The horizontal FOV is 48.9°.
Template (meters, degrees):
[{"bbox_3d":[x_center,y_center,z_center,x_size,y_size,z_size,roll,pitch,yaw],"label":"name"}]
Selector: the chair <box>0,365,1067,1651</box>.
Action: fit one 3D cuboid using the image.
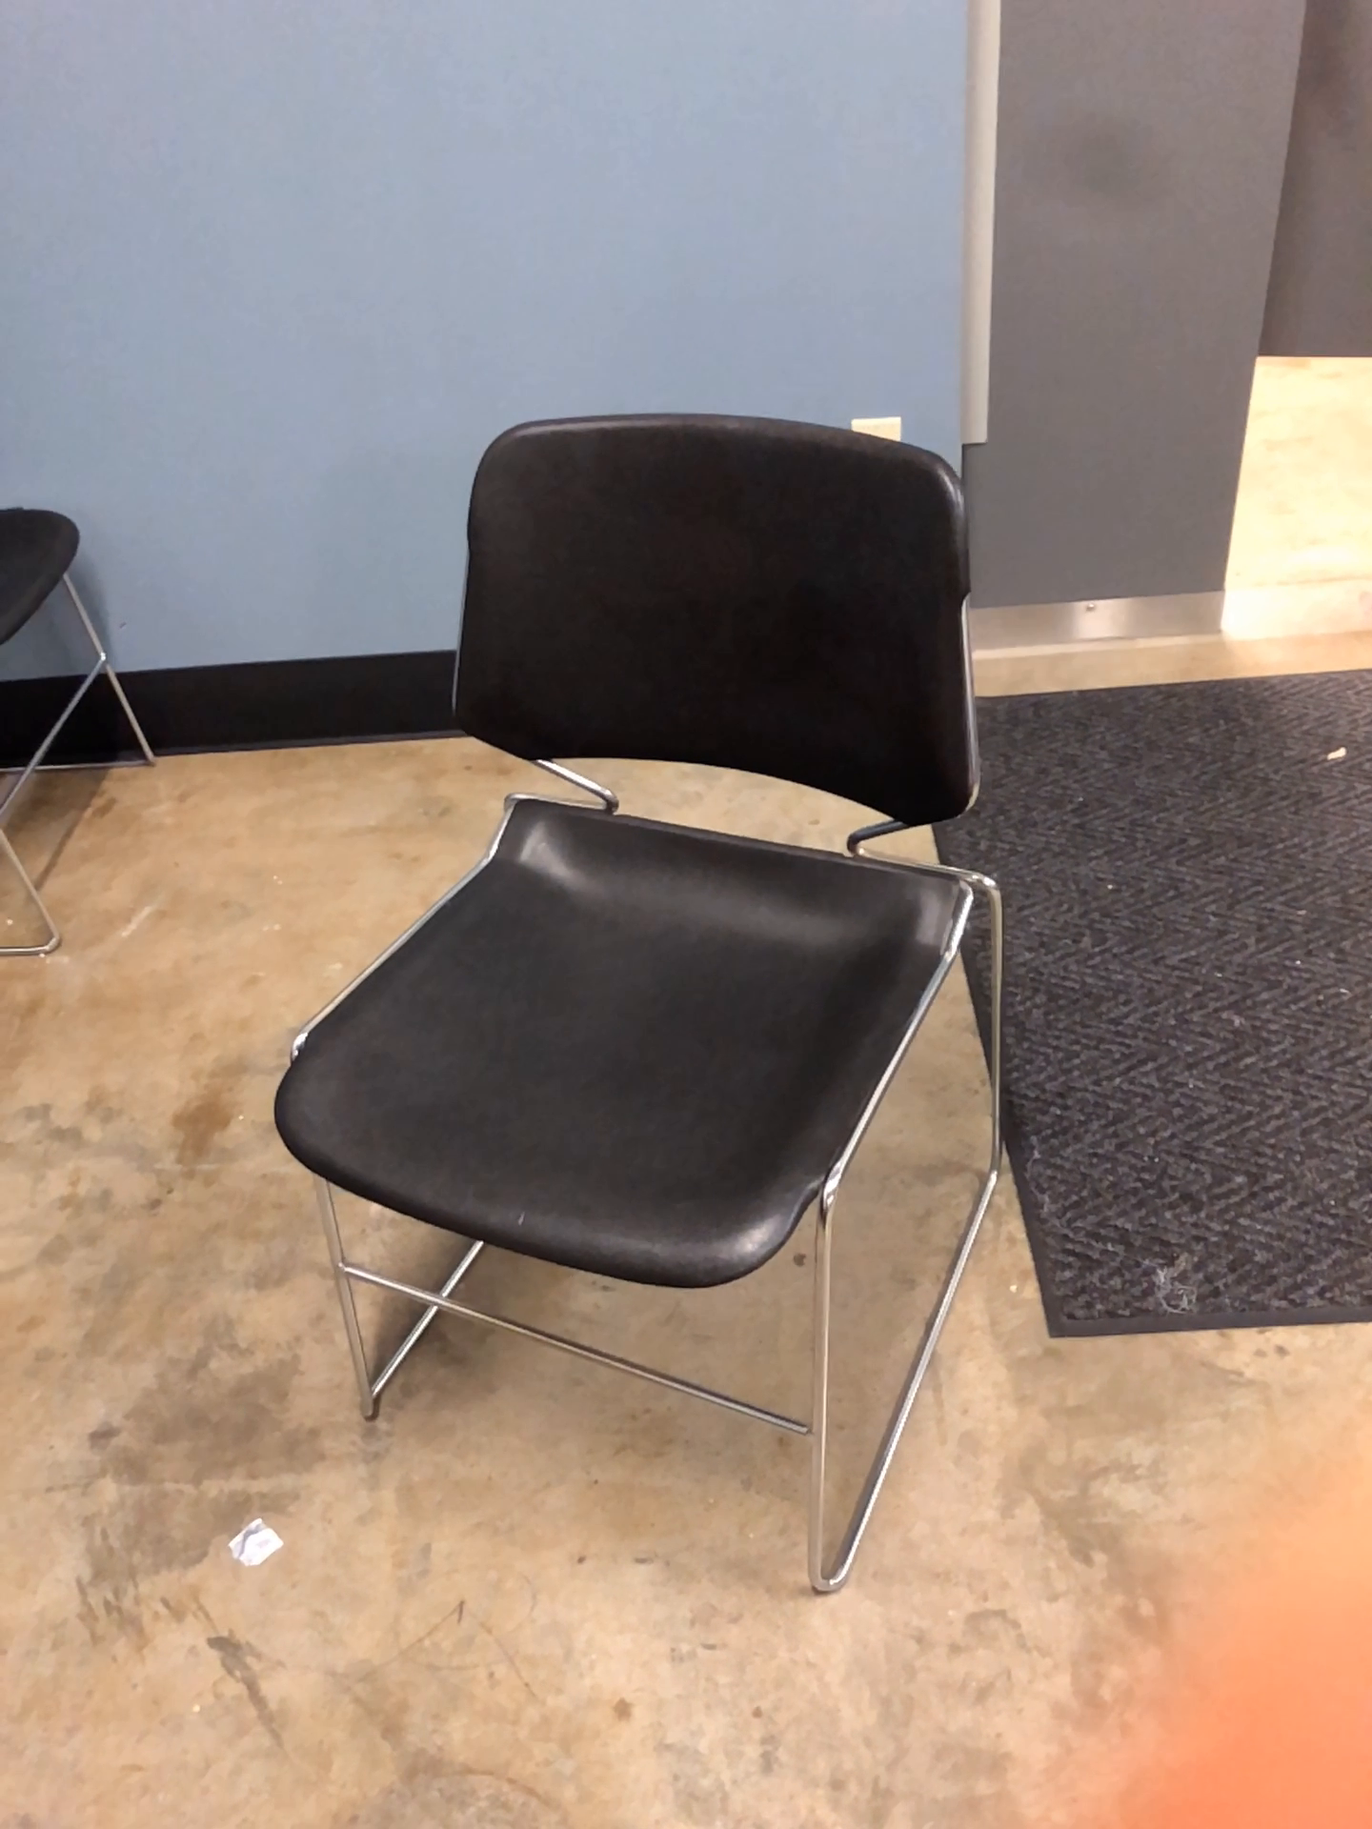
[{"bbox_3d":[-0.043,0.048,1.210,0.525,0.765,0.552,11,41,22],"label":"chair"}]
